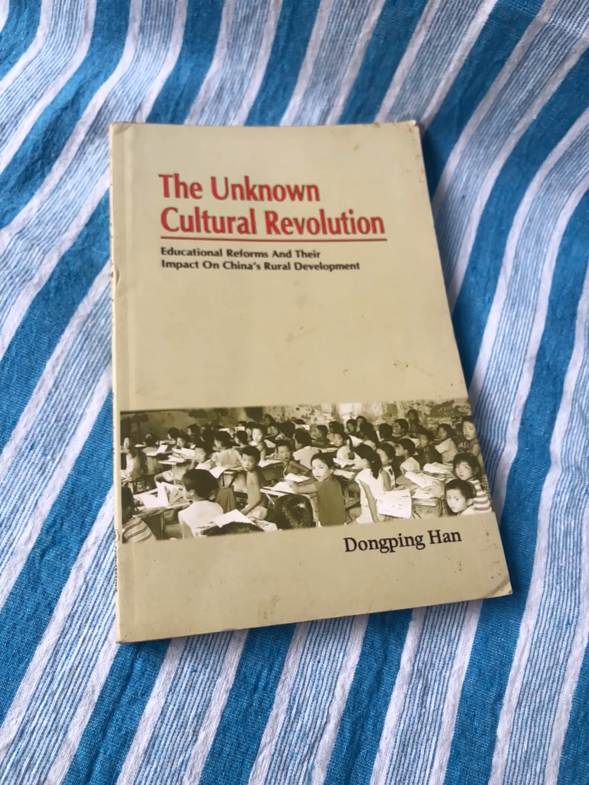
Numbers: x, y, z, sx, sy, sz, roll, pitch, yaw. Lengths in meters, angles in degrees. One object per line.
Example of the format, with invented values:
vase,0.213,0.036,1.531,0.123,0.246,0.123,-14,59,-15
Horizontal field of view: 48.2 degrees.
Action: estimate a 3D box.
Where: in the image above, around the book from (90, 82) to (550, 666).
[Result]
book,-0.002,-0.027,0.254,0.140,0.020,0.230,-4,66,-6
